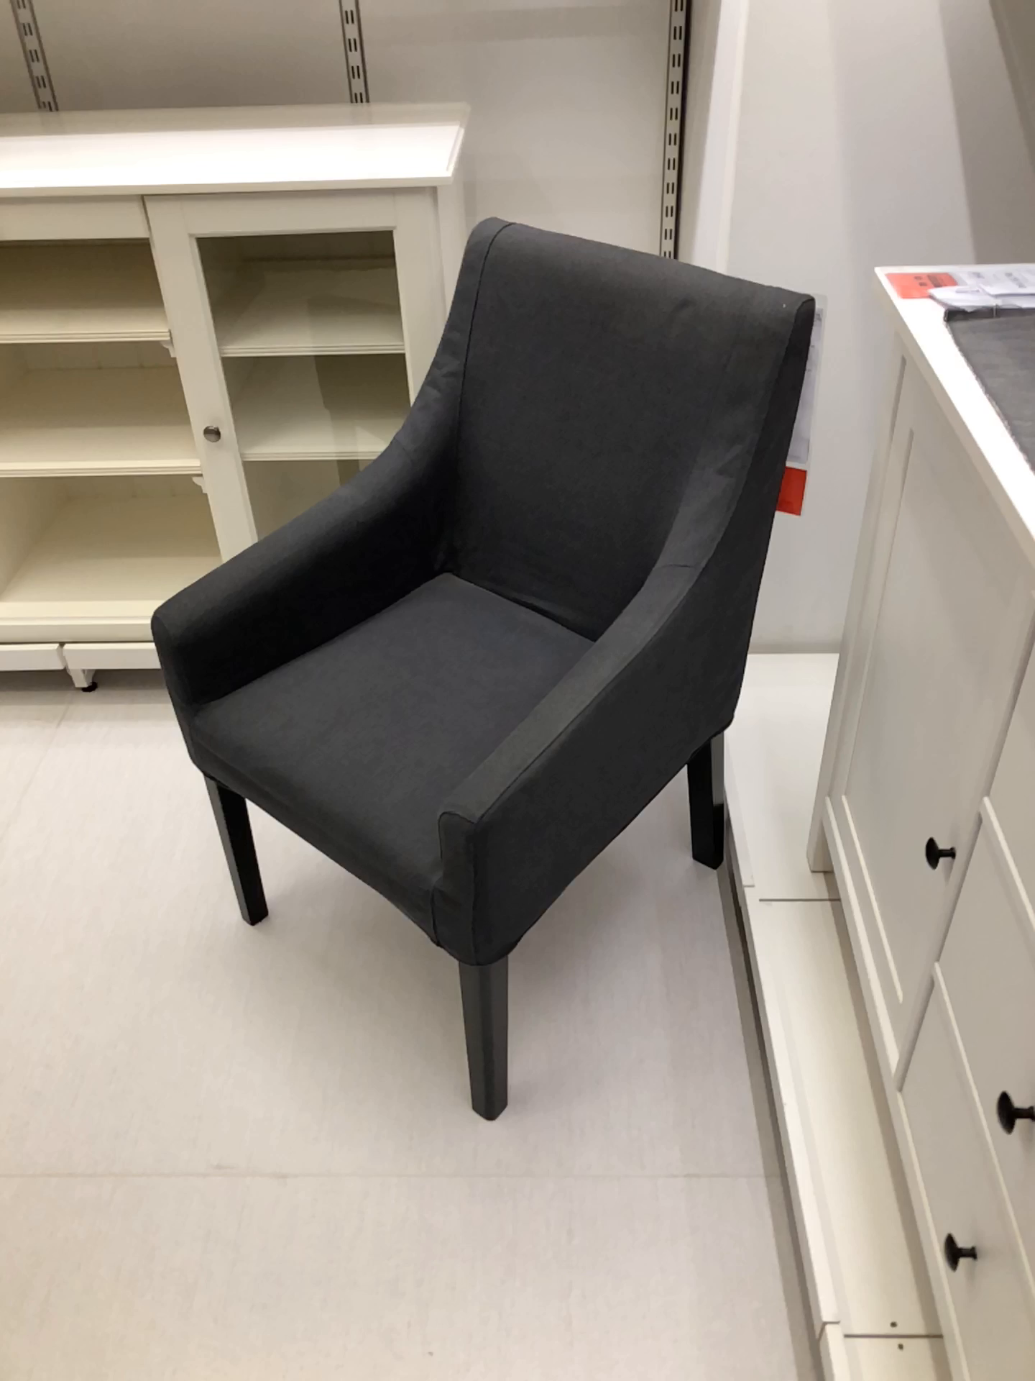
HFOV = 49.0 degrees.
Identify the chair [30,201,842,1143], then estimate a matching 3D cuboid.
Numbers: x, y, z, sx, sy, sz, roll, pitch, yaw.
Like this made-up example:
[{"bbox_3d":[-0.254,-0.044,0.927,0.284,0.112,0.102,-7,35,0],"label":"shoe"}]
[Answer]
[{"bbox_3d":[-0.072,-0.055,1.487,0.612,0.884,0.622,29,47,33],"label":"chair"}]
